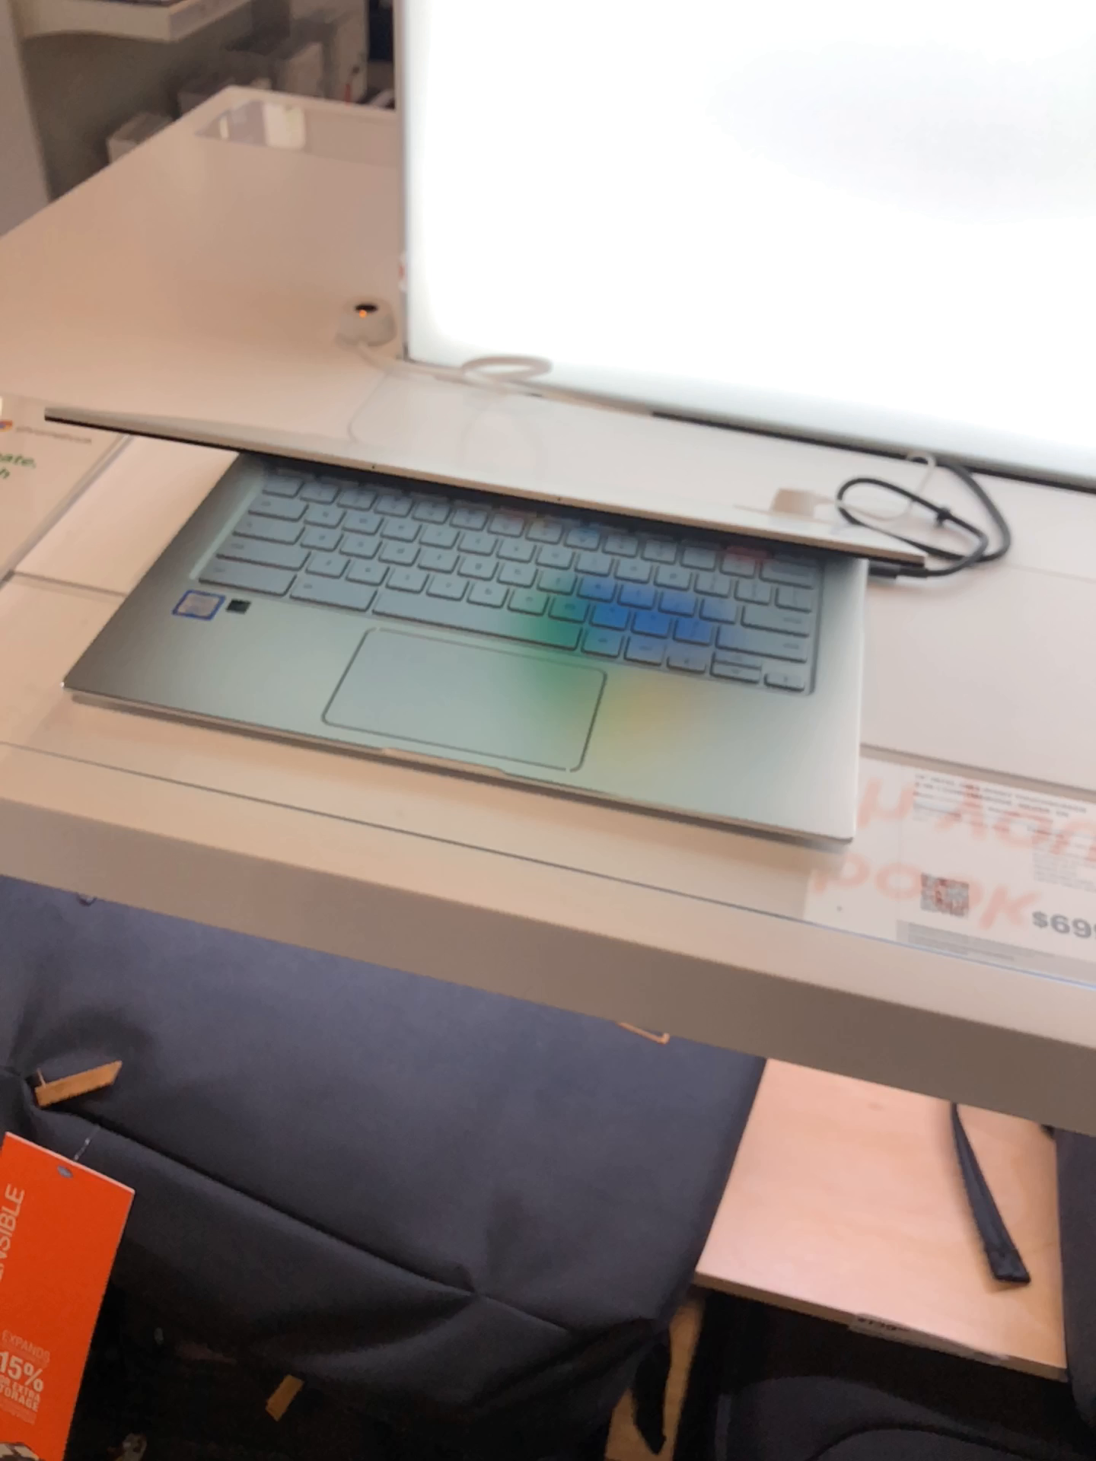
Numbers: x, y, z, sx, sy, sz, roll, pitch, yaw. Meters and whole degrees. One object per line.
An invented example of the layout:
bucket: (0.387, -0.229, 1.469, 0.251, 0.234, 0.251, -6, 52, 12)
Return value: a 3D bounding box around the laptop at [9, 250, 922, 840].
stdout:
laptop: (-0.018, -0.091, 0.502, 0.311, 0.102, 0.194, 11, 44, 8)
